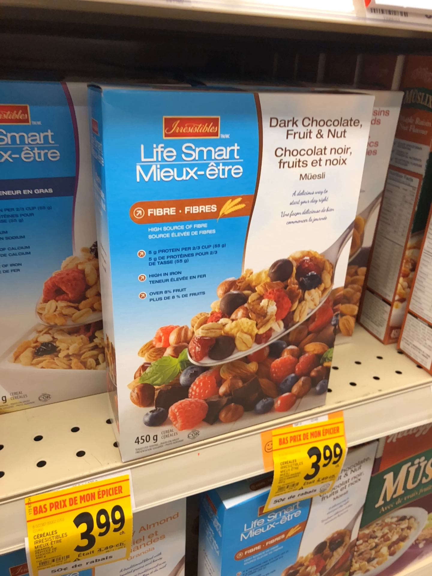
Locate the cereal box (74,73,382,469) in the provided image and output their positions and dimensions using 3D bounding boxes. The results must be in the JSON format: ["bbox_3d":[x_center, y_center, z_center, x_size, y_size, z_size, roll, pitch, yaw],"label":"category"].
[{"bbox_3d":[0.005,-0.010,0.322,0.170,0.238,0.050,-8,27,-23],"label":"cereal box"}]
